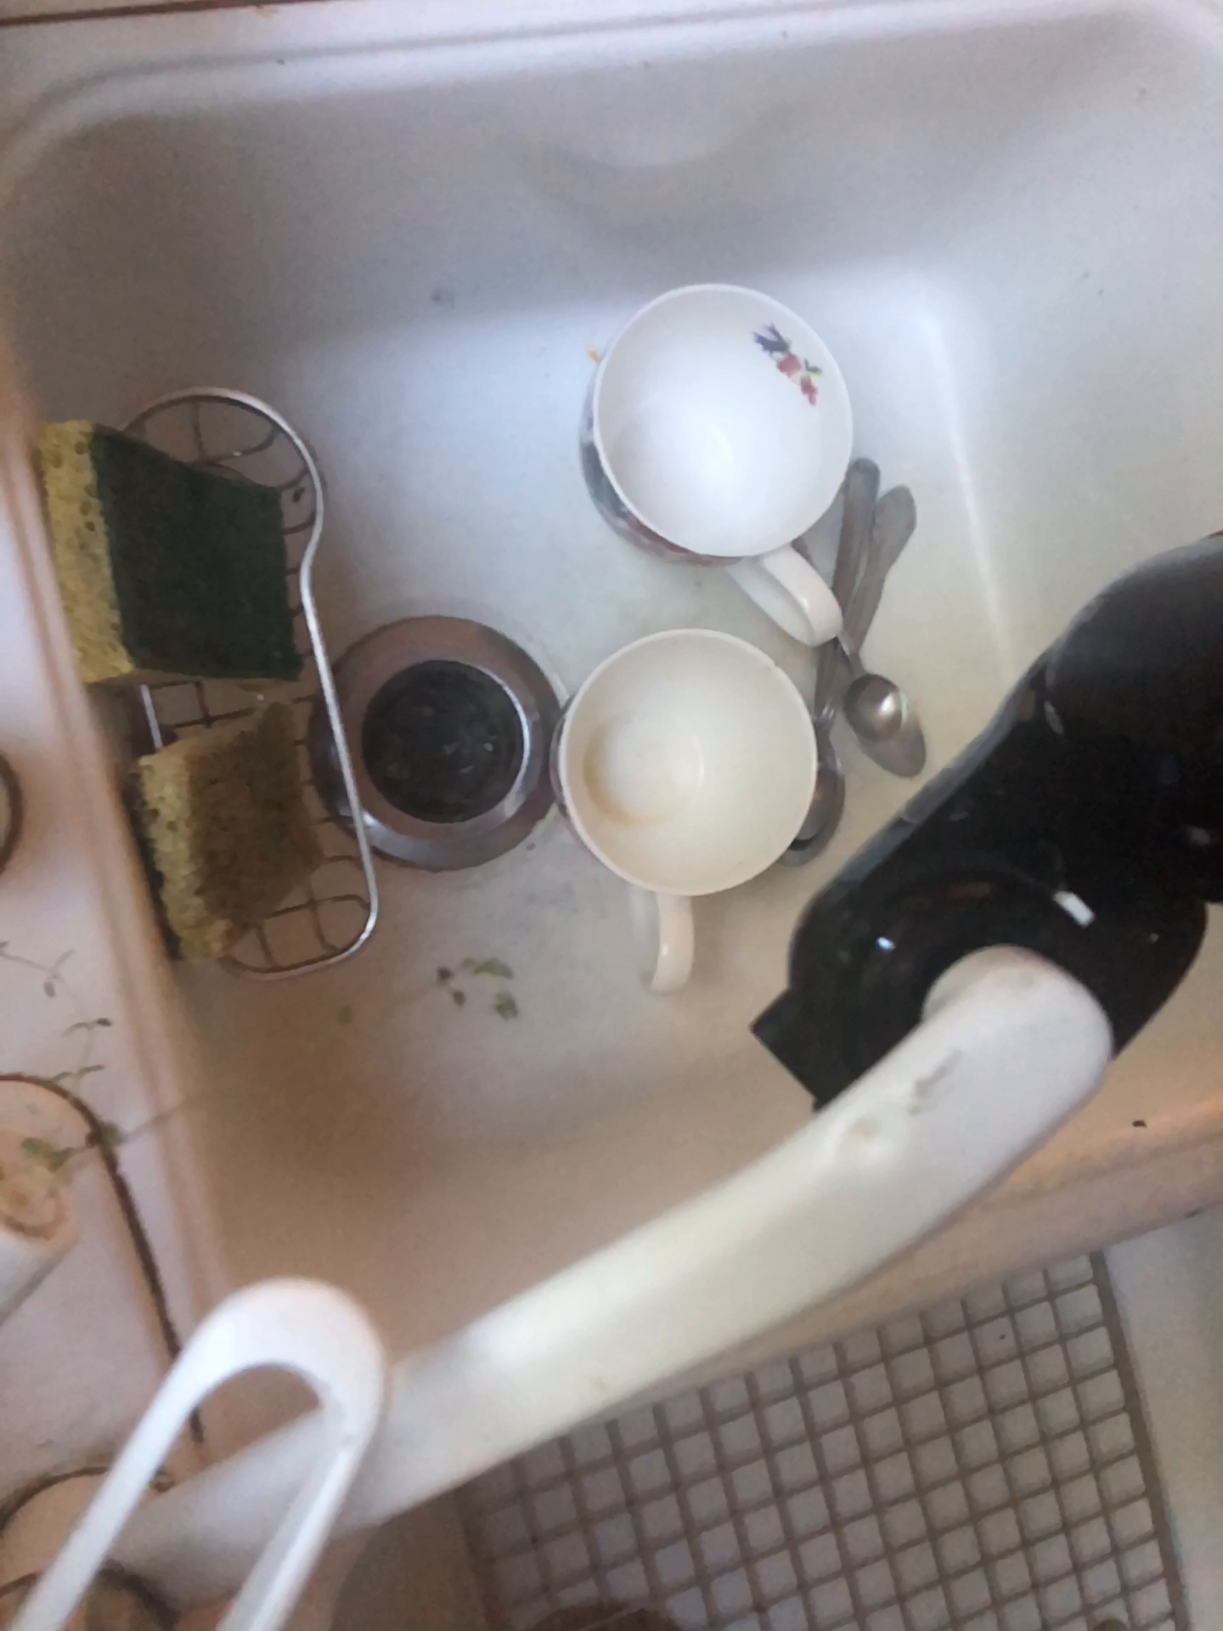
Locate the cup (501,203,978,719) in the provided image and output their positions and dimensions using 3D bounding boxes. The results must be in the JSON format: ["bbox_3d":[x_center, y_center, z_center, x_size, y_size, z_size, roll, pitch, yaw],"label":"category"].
[{"bbox_3d":[0.048,-0.133,0.529,0.110,0.070,0.150,-33,97,-12],"label":"cup"}]

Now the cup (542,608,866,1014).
[{"bbox_3d":[0.033,0.000,0.521,0.100,0.070,0.140,4,88,-14],"label":"cup"}]
